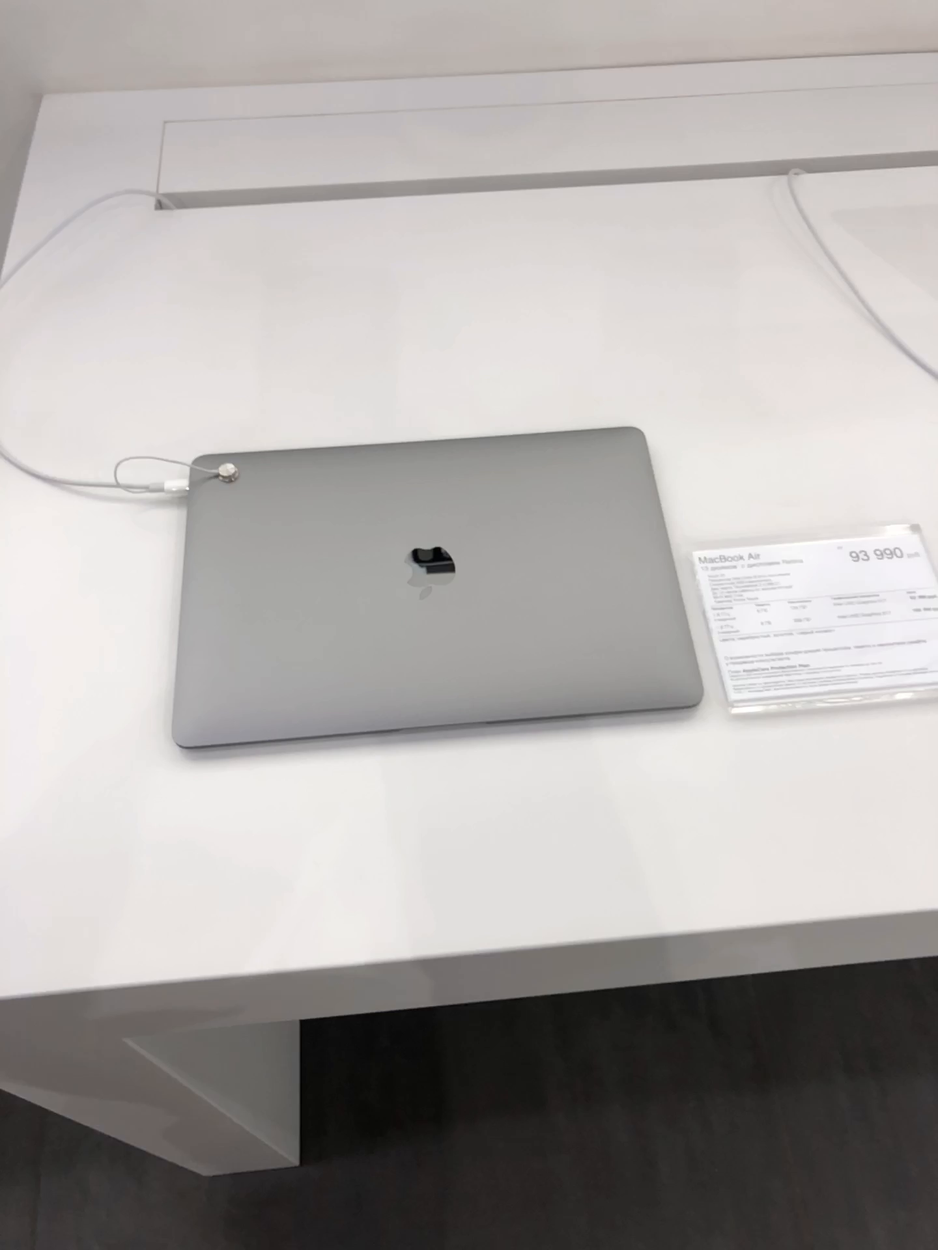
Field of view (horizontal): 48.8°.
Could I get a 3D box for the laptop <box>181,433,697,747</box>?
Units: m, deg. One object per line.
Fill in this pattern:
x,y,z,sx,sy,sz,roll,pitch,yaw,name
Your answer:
-0.024,-0.030,0.639,0.292,0.006,0.205,-4,59,-2,laptop
